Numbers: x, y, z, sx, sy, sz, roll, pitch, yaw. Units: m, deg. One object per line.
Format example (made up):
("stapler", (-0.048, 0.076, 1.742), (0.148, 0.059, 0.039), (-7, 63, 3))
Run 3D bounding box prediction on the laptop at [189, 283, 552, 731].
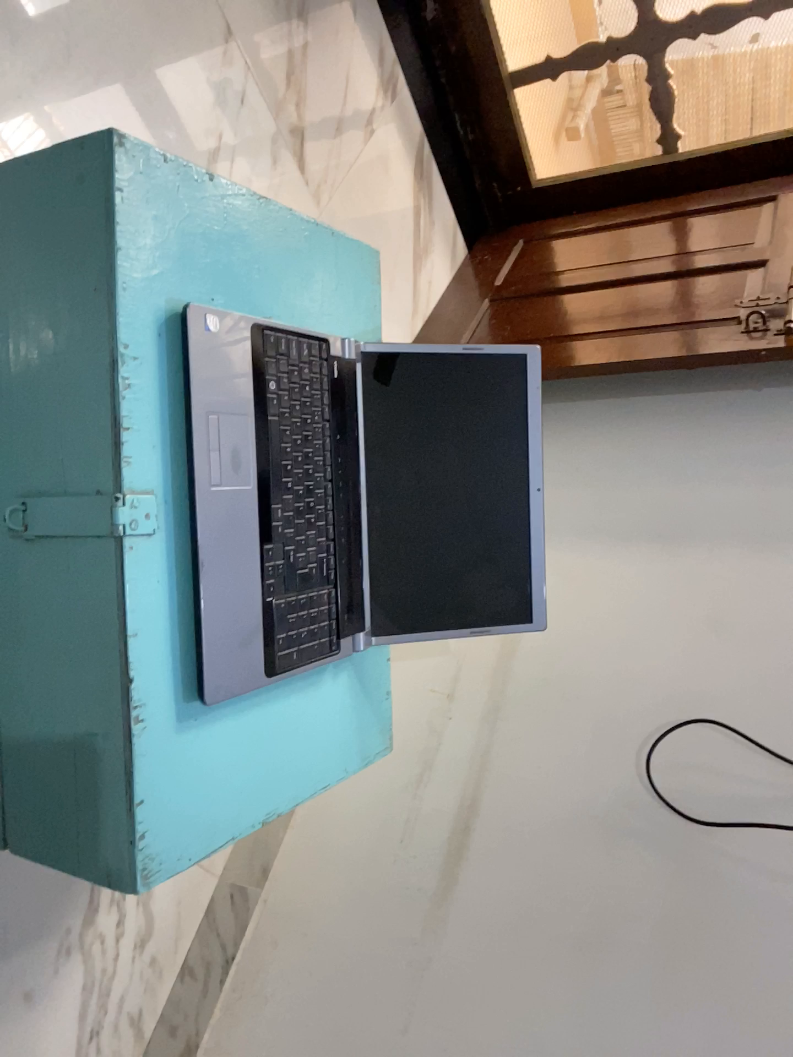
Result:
("laptop", (0.009, -0.035, 0.946), (0.481, 0.178, 0.389), (-8, 98, -59))
